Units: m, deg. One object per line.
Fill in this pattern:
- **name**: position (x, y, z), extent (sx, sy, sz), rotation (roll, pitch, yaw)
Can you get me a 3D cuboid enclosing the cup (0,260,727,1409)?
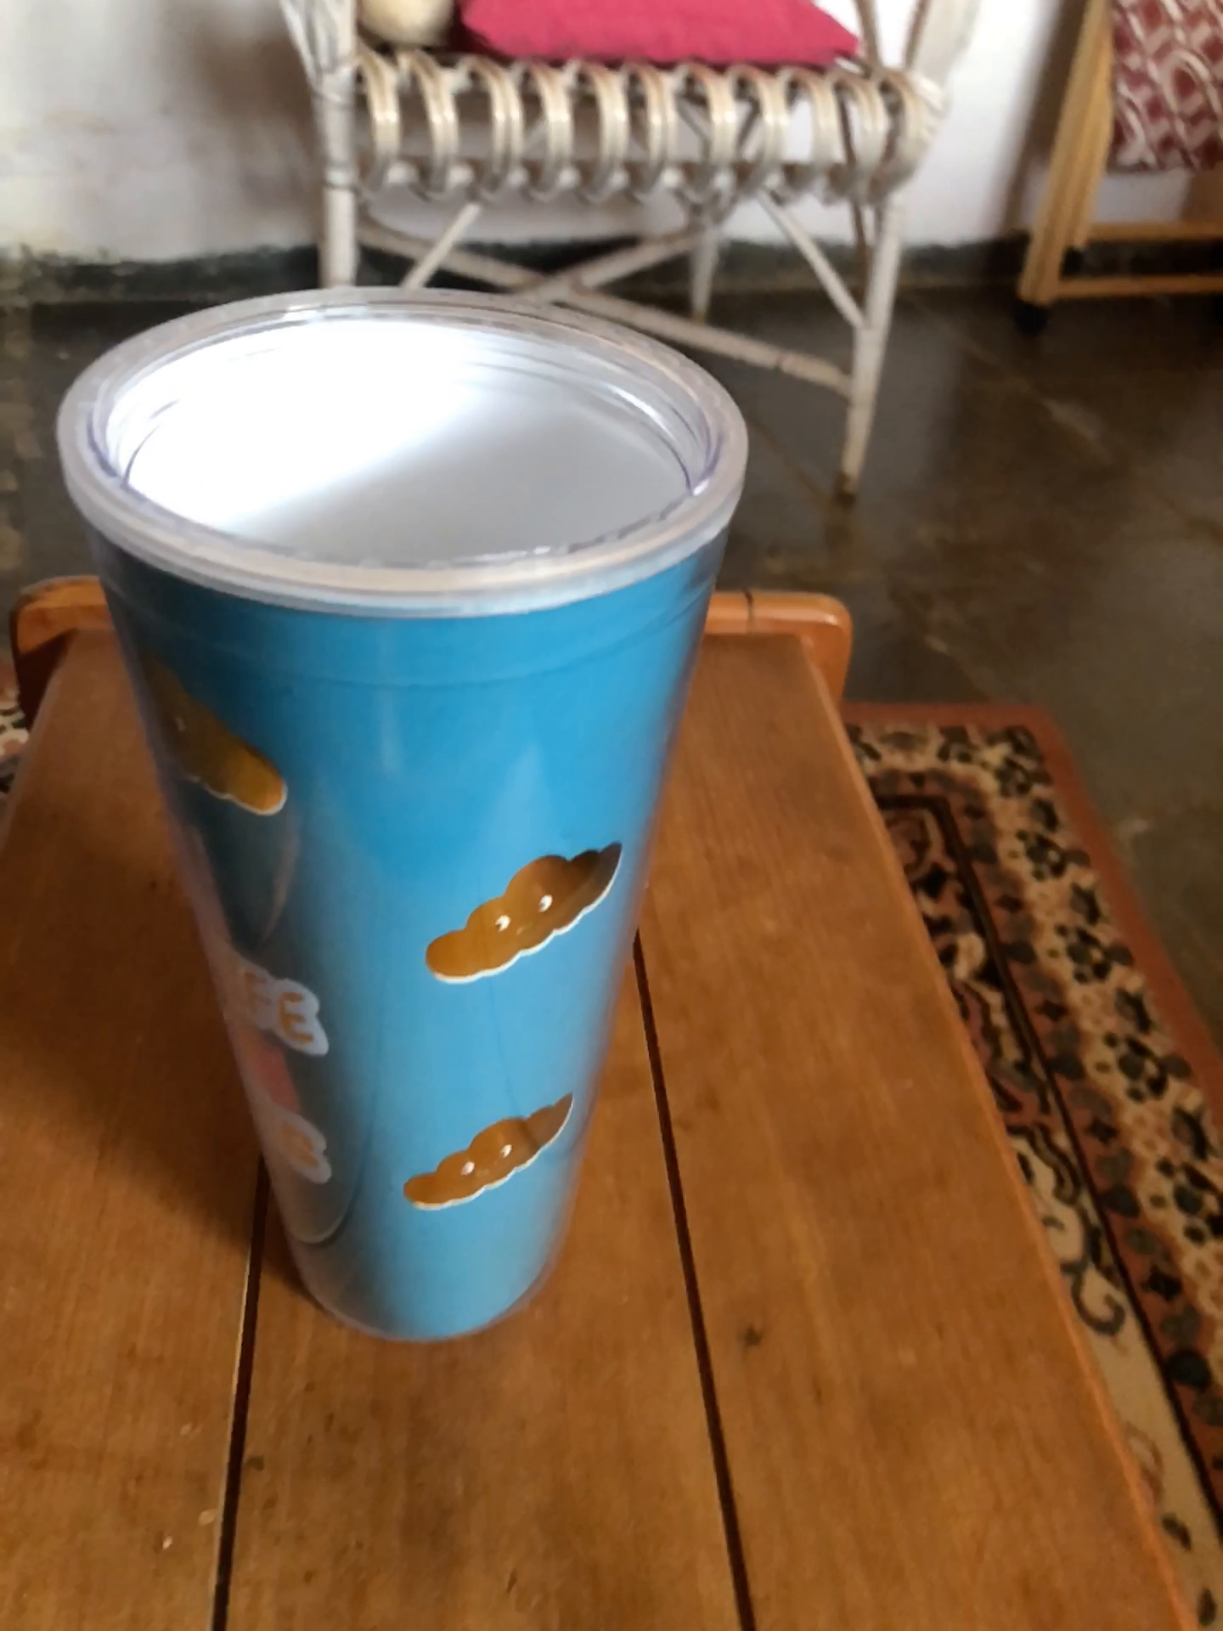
- **cup**: position (-0.042, 0.012, 0.248), extent (0.100, 0.179, 0.101), rotation (4, 40, -3)
